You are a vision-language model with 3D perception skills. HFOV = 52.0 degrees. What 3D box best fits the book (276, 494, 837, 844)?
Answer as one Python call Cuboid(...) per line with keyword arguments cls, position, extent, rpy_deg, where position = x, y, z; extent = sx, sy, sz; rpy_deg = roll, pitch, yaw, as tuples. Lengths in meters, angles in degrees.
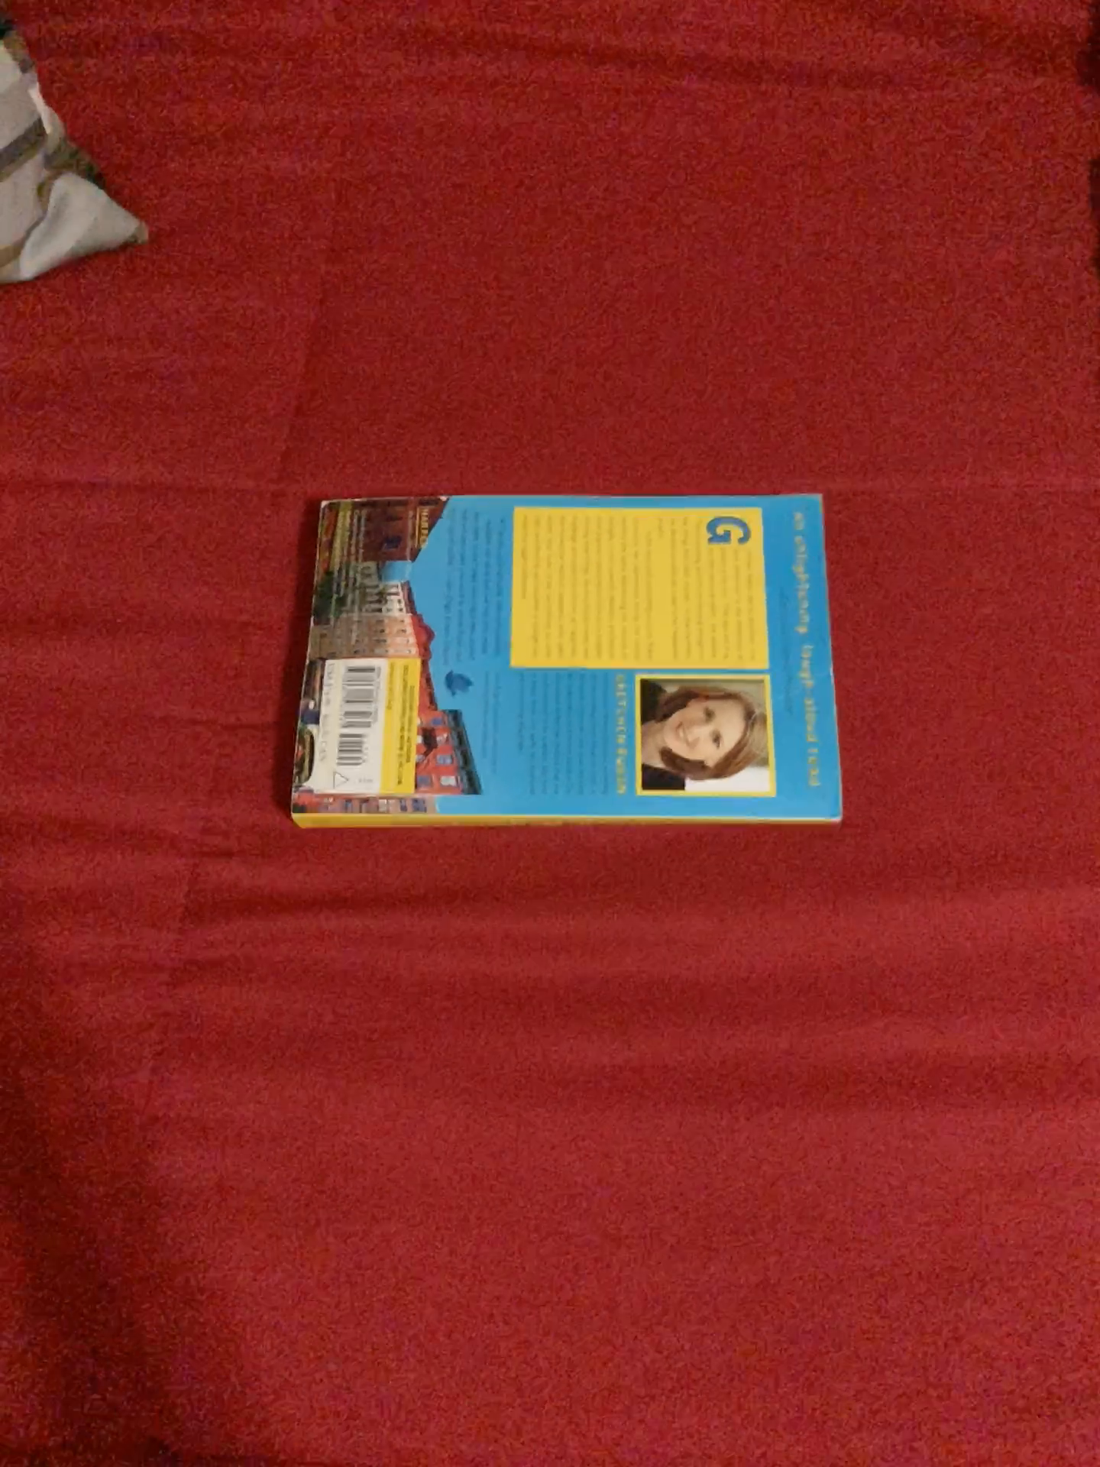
Cuboid(cls="book", position=(0.004, -0.027, 0.443), extent=(0.202, 0.033, 0.133), rpy_deg=(1, 71, 2))
